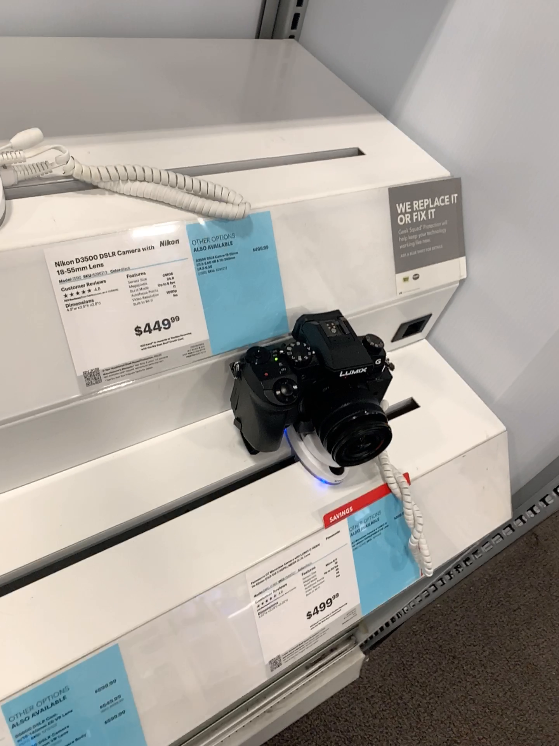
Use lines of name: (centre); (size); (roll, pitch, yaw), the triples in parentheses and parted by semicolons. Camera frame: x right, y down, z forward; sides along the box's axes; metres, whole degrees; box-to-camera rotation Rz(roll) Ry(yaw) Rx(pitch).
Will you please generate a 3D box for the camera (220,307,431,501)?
camera: (0.031, 0.021, 0.470); (0.118, 0.080, 0.115); (-9, 54, -24)
